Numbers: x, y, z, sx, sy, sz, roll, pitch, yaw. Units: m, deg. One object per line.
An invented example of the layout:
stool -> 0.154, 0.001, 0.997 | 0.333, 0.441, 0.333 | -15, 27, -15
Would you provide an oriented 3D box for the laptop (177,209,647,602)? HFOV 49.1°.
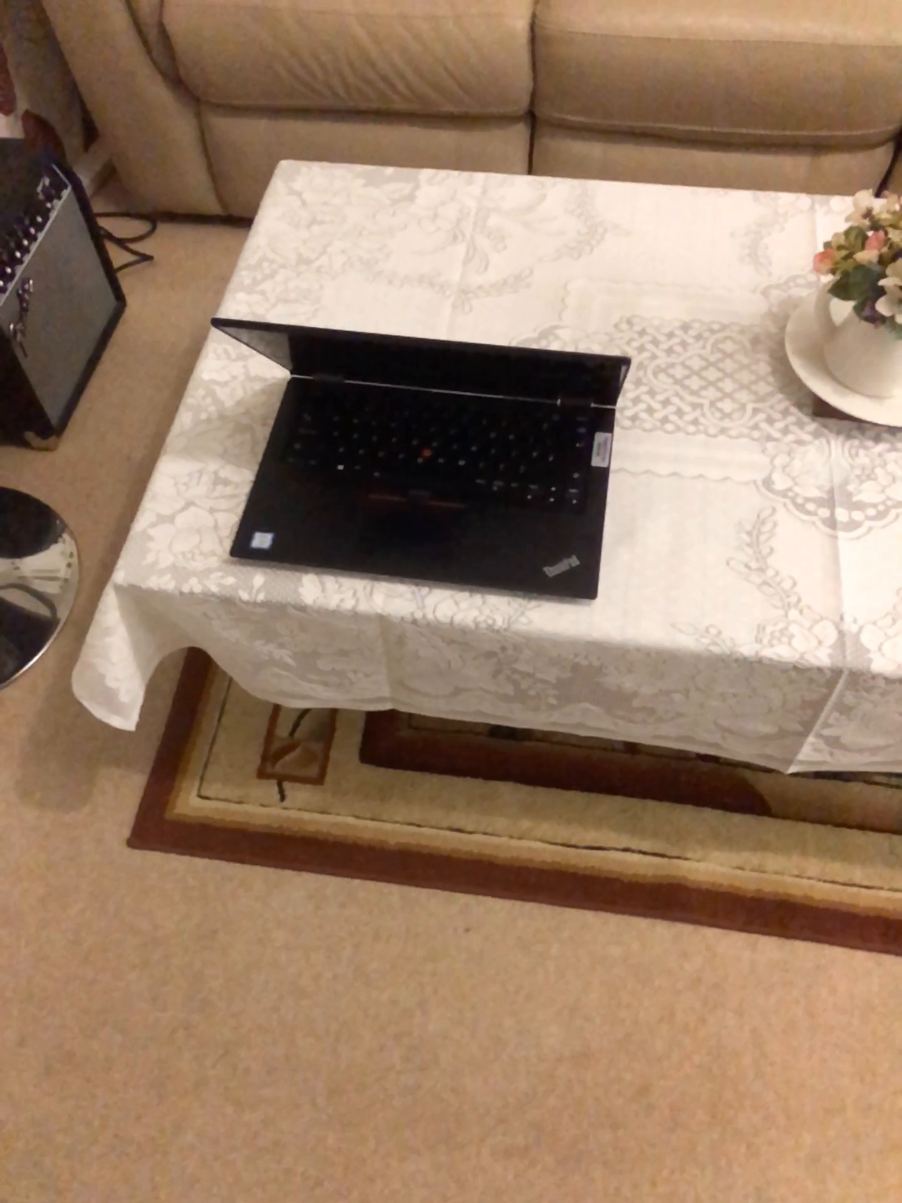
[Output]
laptop -> -0.018, -0.158, 0.791 | 0.309, 0.174, 0.221 | 7, 58, 8
